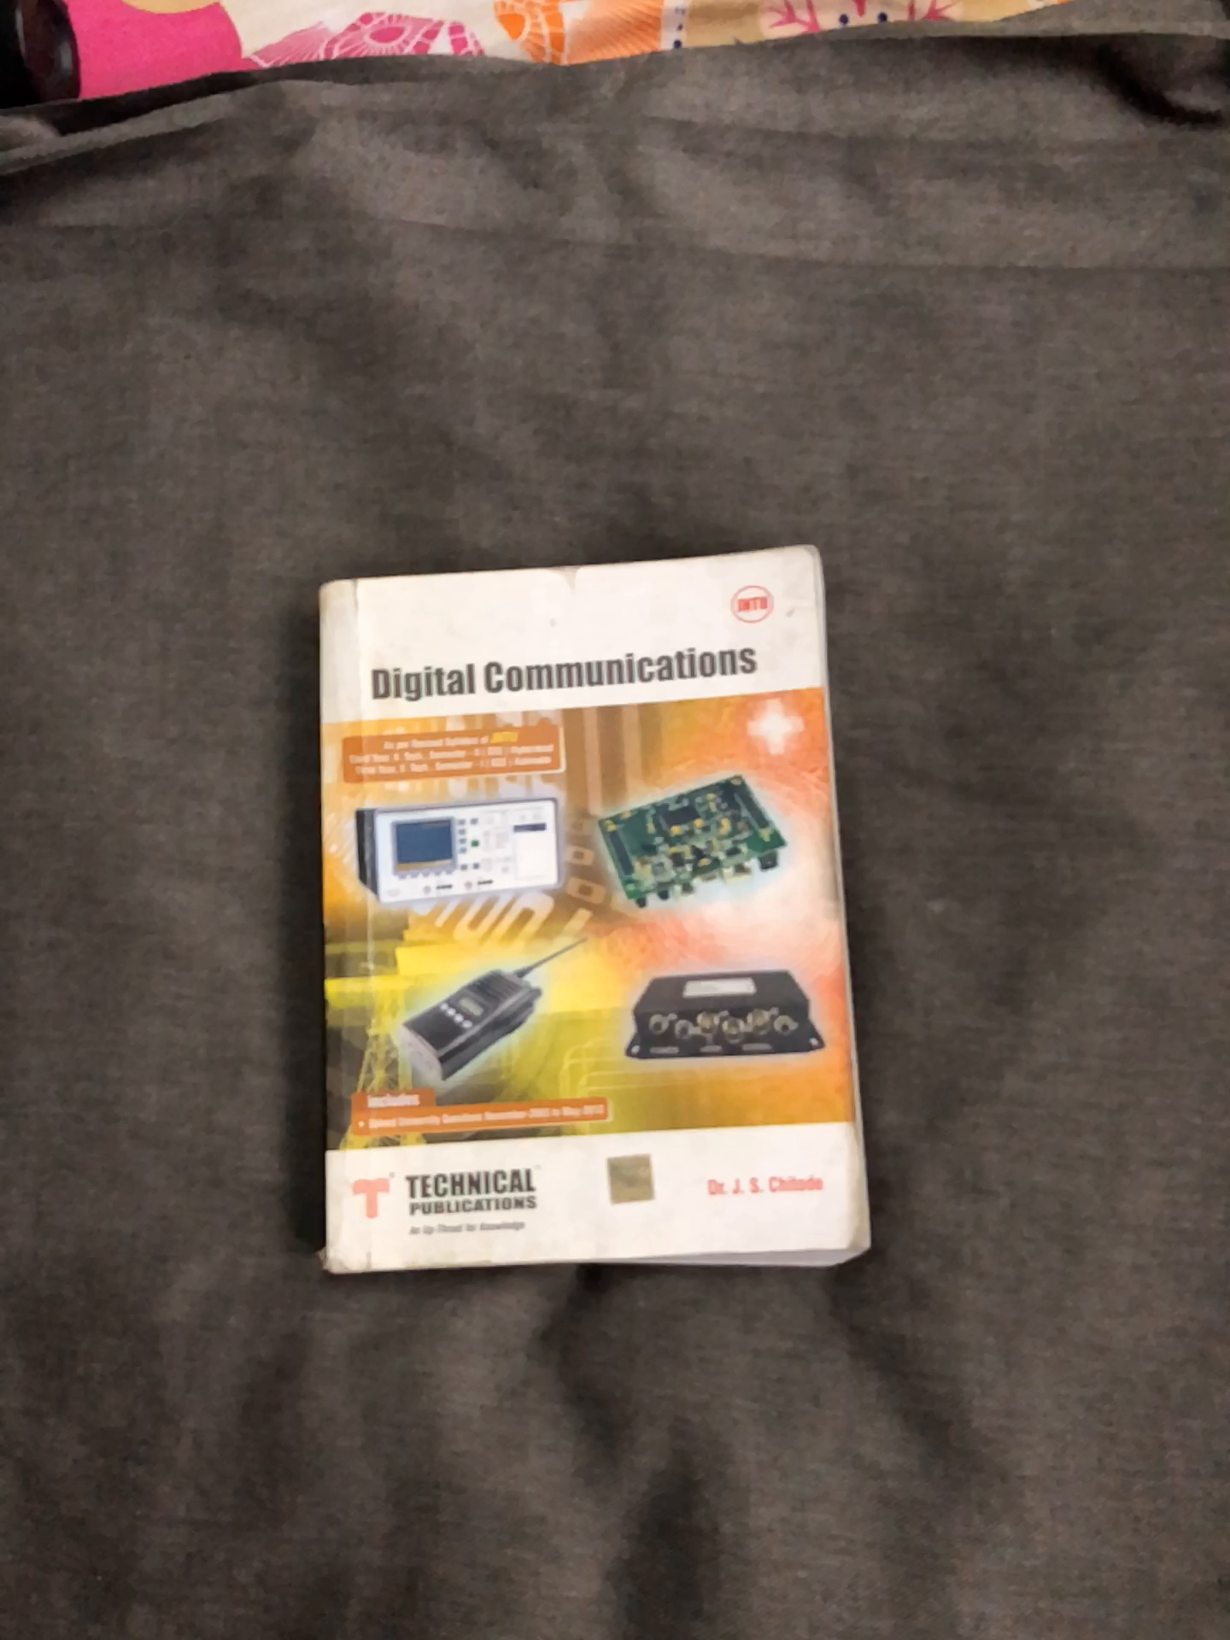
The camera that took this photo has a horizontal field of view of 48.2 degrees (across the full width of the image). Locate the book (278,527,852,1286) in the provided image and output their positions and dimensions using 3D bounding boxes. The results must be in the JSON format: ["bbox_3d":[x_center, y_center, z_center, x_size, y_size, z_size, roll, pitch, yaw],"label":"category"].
[{"bbox_3d":[-0.018,0.030,0.473,0.181,0.050,0.241,-3,81,6],"label":"book"}]
